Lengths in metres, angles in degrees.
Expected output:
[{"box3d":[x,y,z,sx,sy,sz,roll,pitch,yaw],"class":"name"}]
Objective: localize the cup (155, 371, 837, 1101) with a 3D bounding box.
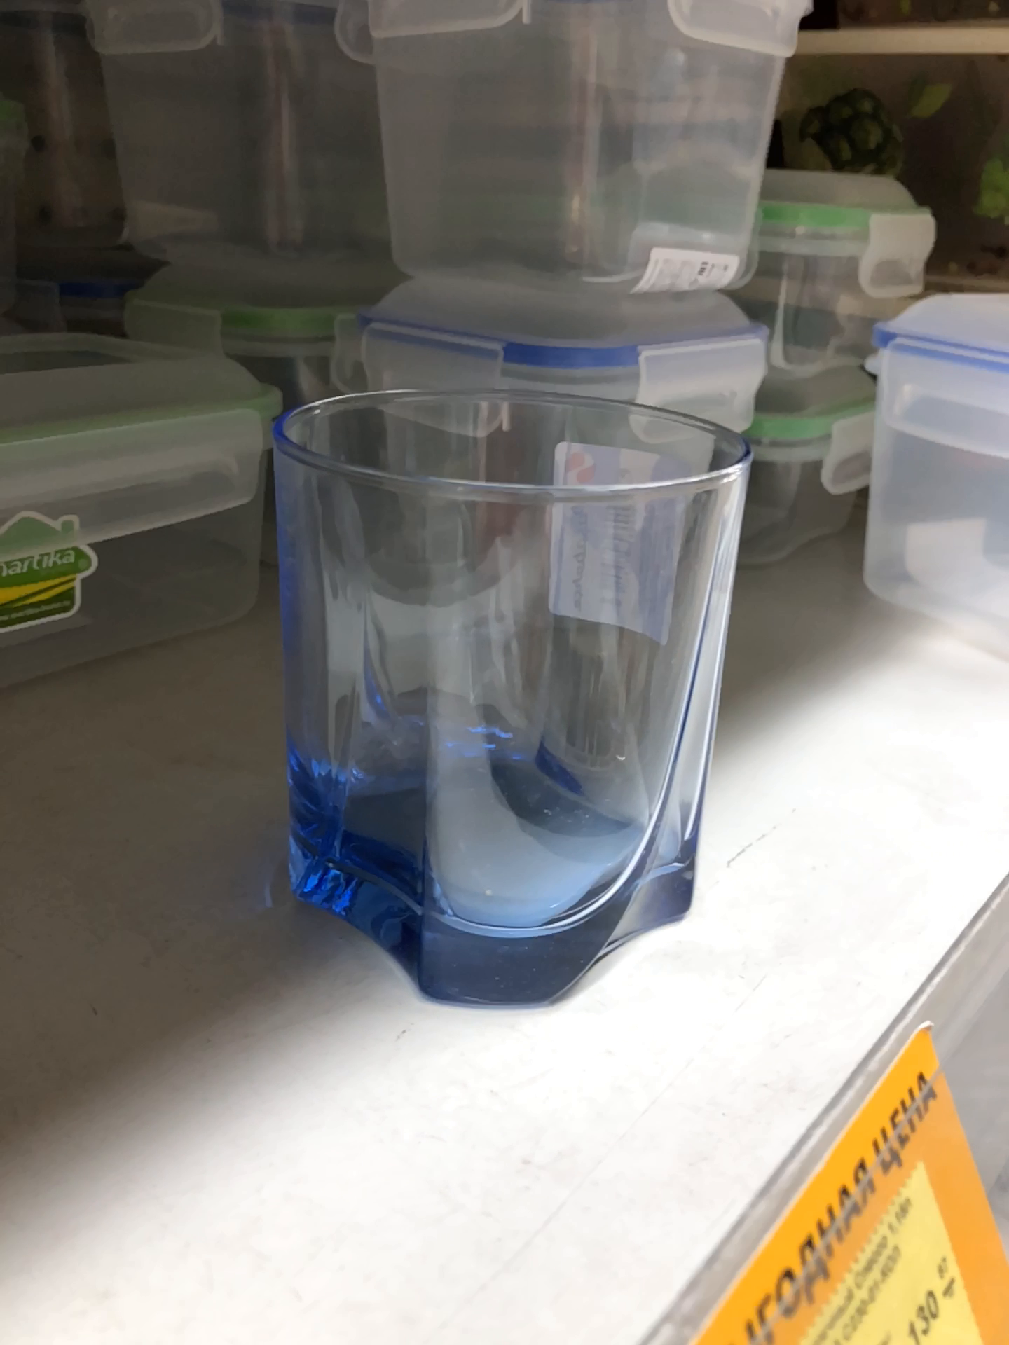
[{"box3d":[-0.002,0.000,0.213,0.085,0.095,0.083,1,23,0],"class":"cup"}]
